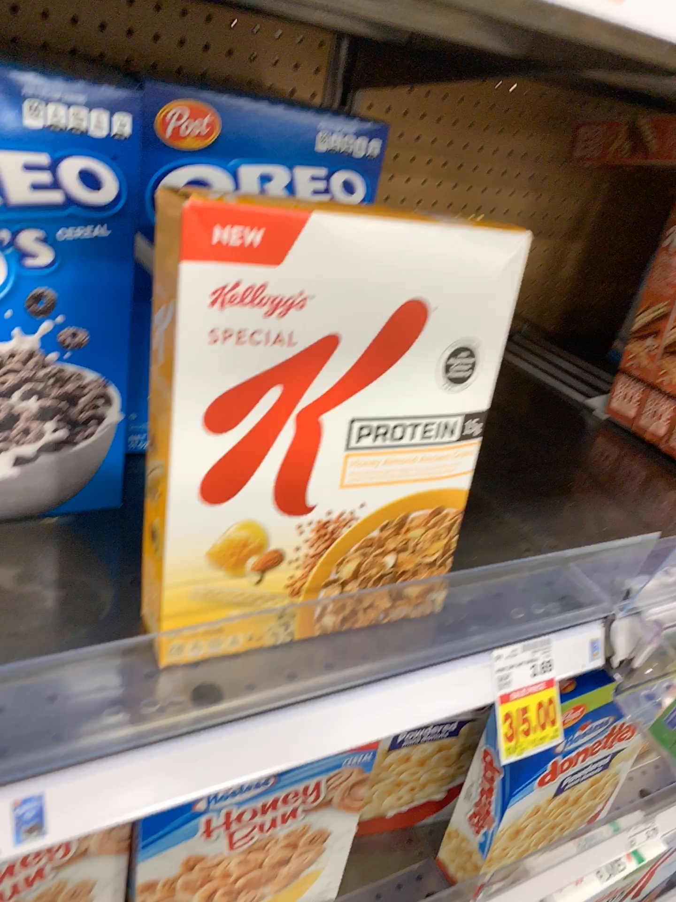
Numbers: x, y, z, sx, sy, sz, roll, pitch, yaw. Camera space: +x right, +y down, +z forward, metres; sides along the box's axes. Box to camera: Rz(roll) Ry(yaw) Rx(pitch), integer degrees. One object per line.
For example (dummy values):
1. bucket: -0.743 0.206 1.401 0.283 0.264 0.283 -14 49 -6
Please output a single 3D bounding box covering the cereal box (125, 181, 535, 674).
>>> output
1. cereal box: -0.011 -0.006 0.388 0.200 0.249 0.040 -4 27 -26
